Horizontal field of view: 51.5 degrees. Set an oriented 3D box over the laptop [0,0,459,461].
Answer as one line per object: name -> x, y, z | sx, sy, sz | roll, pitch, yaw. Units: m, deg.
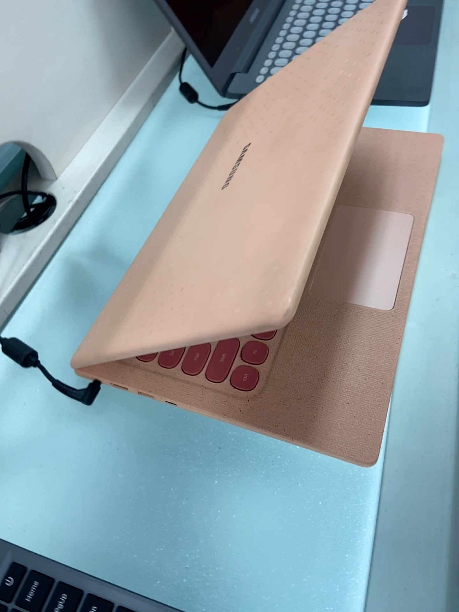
laptop -> 0.032, -0.095, 0.346 | 0.211, 0.129, 0.324 | 13, 57, 19
